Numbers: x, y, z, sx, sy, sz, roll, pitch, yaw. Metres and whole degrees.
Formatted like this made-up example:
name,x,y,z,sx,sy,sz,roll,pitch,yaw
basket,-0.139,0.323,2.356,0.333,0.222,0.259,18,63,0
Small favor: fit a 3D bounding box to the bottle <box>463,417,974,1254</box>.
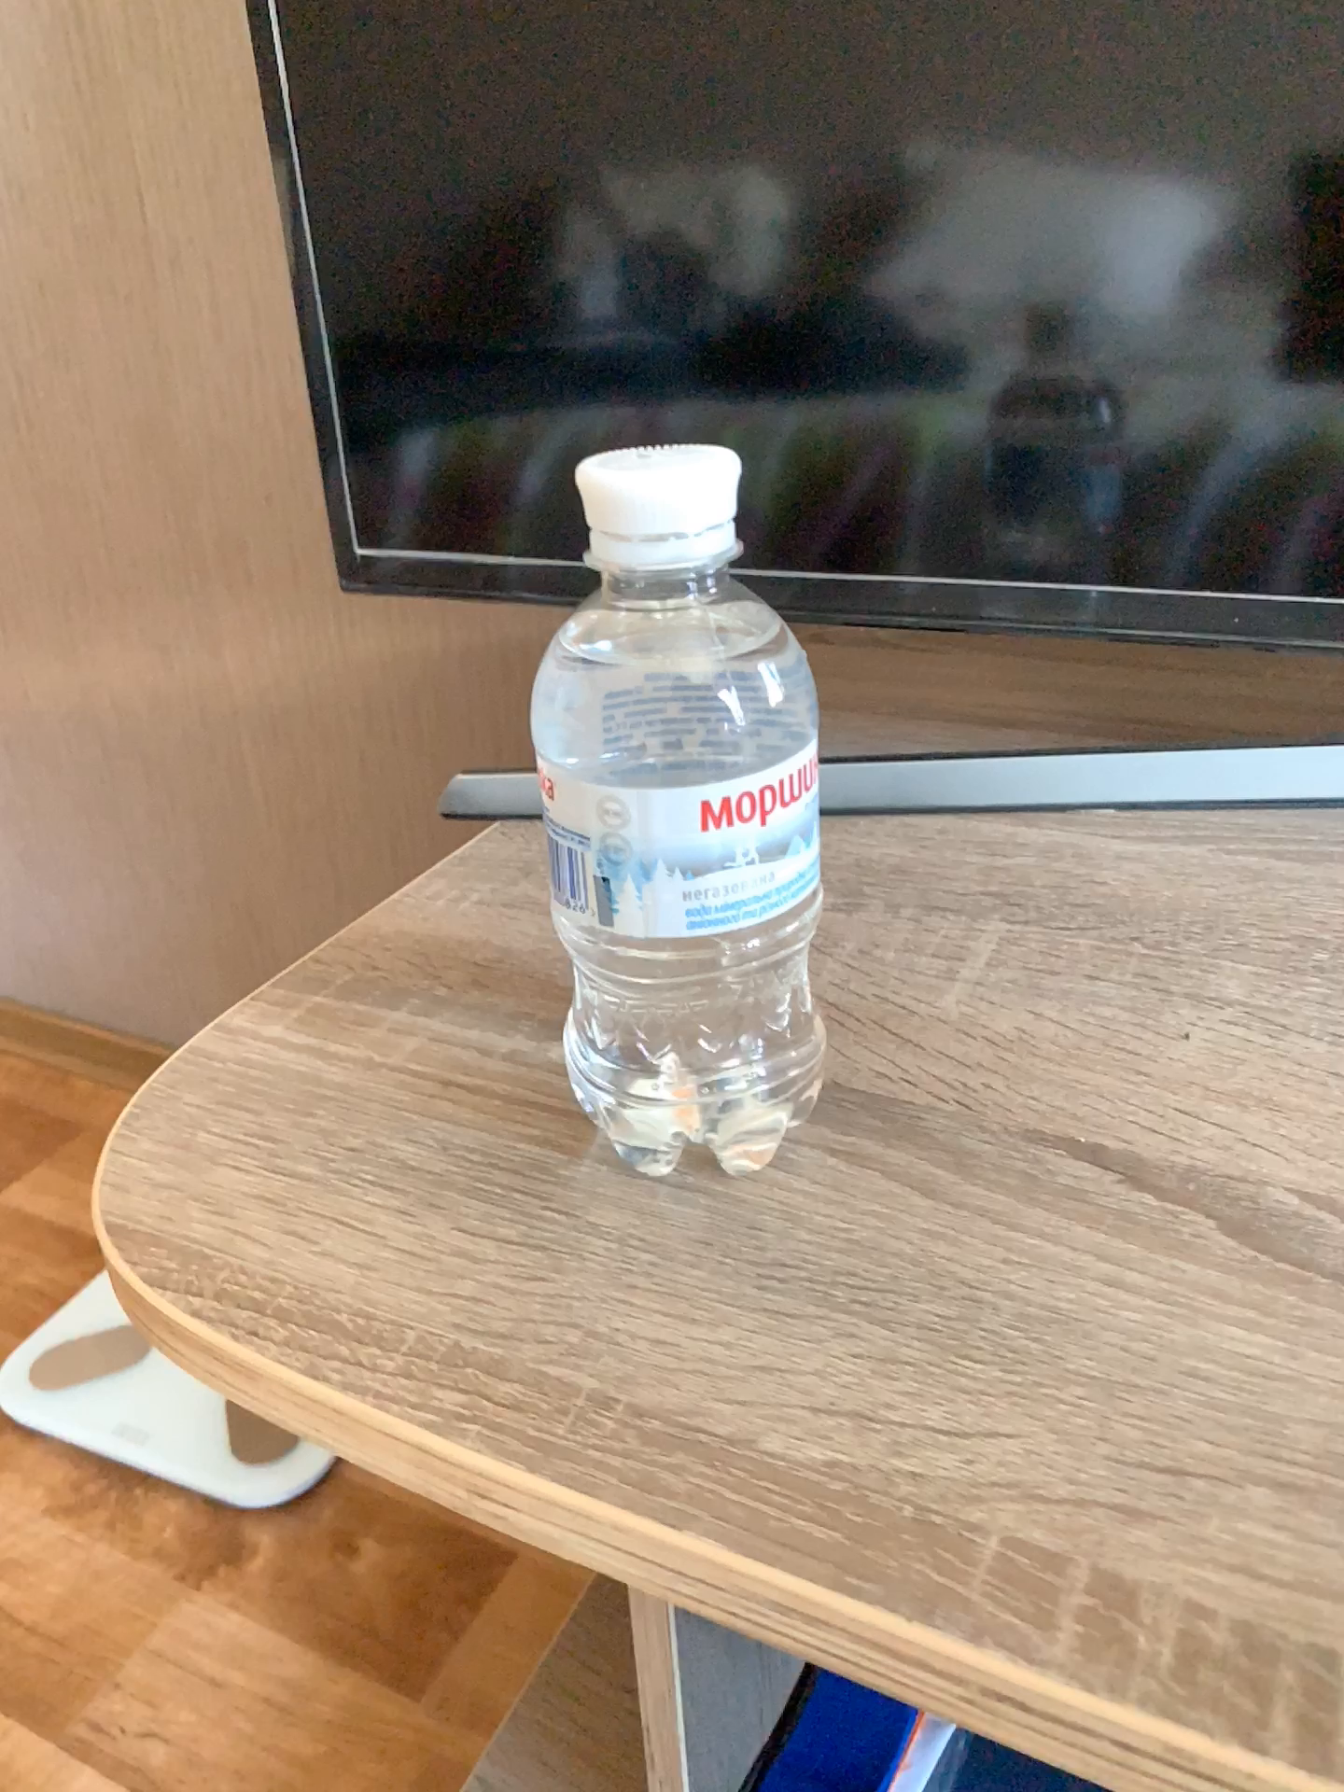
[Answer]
name,x,y,z,sx,sy,sz,roll,pitch,yaw
bottle,0.014,-0.016,0.289,0.070,0.149,0.070,-3,26,1
